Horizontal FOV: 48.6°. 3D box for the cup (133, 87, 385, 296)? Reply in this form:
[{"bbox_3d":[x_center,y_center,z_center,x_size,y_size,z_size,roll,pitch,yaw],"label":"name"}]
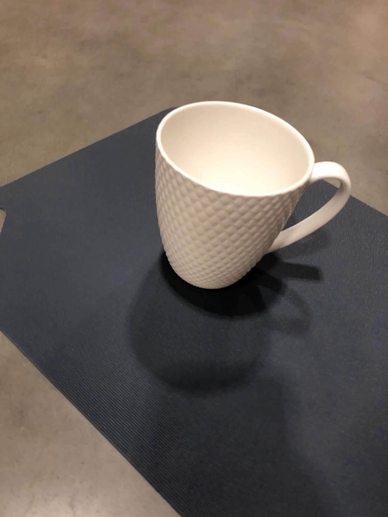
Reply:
[{"bbox_3d":[0.029,-0.041,0.282,0.130,0.090,0.090,3,48,-7],"label":"cup"}]
